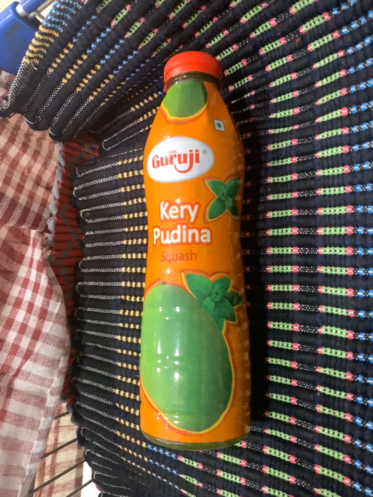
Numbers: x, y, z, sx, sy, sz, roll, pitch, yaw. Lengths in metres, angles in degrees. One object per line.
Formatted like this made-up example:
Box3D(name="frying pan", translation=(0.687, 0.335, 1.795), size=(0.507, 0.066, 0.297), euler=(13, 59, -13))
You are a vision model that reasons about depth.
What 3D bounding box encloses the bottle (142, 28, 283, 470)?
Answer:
Box3D(name="bottle", translation=(0.013, -0.002, 0.236), size=(0.070, 0.070, 0.230), euler=(2, 83, -5))
